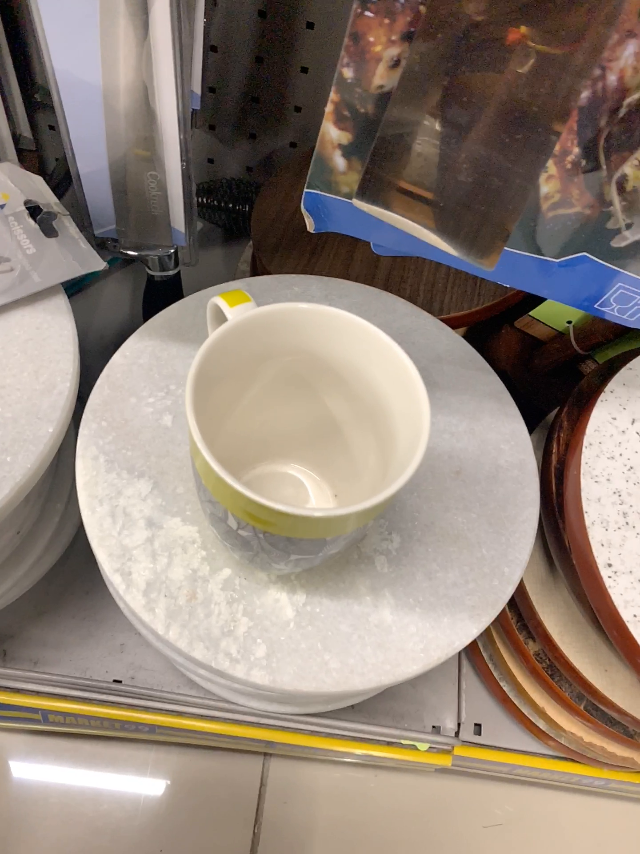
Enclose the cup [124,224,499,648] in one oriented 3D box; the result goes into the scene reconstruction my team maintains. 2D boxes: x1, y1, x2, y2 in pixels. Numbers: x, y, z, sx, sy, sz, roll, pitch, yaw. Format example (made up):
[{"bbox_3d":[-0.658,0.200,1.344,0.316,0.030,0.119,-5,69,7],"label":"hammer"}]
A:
[{"bbox_3d":[-0.012,0.005,0.245,0.080,0.090,0.110,-19,67,-19],"label":"cup"}]
